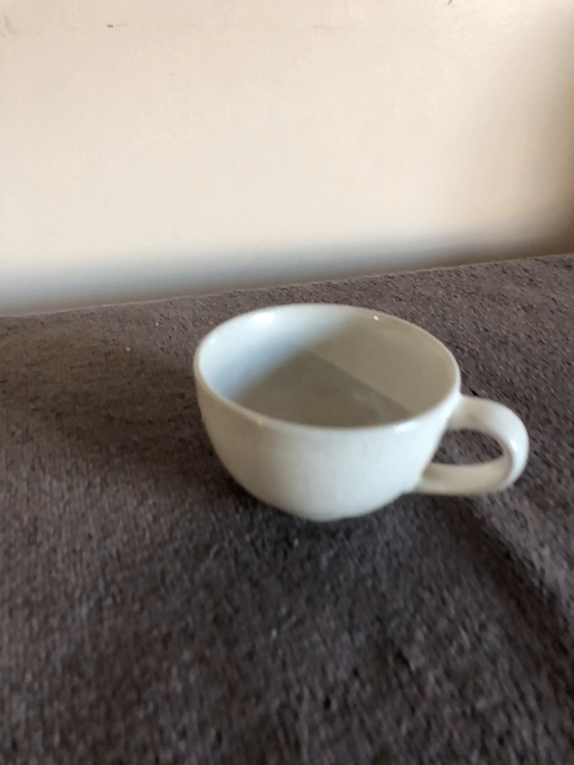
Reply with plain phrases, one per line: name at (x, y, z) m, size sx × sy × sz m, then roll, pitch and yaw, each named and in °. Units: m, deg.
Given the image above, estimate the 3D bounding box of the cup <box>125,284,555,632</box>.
cup at (0.021, 0.015, 0.227) m, size 0.120 × 0.050 × 0.090 m, roll 16°, pitch 34°, yaw 22°
